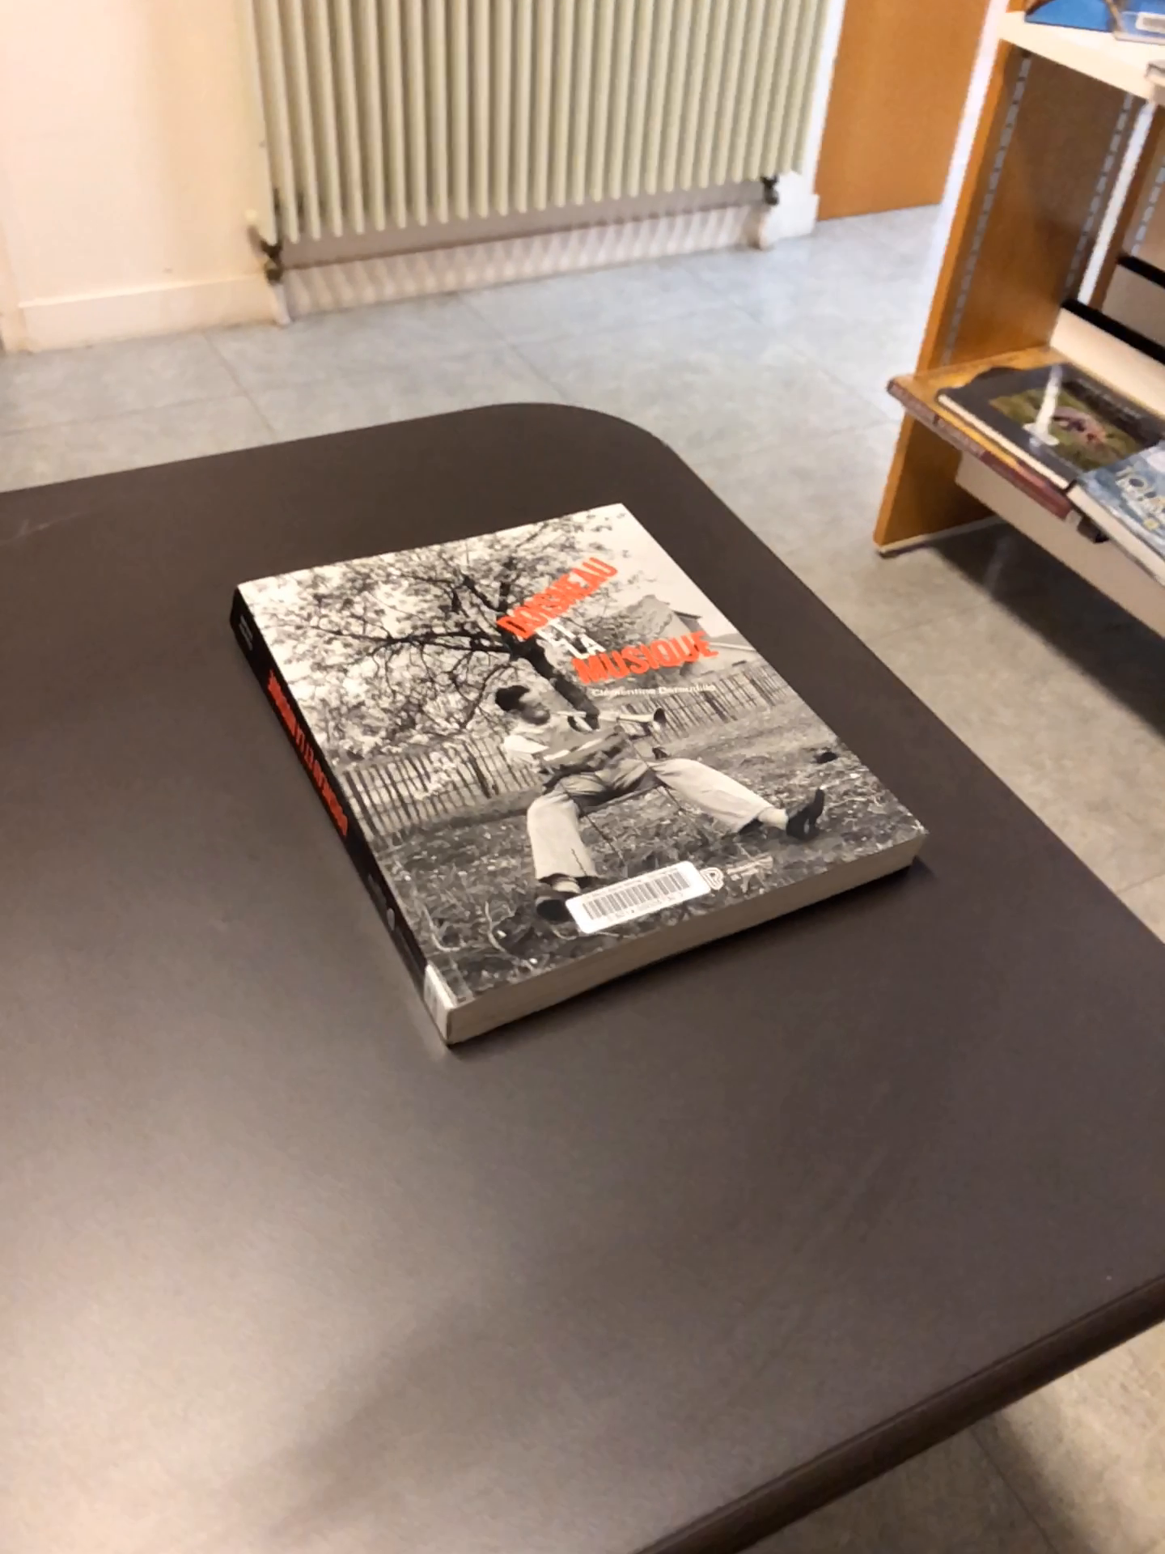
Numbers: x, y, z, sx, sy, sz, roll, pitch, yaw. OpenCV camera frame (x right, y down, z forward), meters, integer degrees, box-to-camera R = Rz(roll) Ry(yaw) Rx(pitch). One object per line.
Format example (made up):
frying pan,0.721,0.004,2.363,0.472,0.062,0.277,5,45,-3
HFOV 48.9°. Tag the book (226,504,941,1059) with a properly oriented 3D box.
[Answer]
book,-0.013,-0.022,0.519,0.194,0.030,0.251,-16,44,-21
